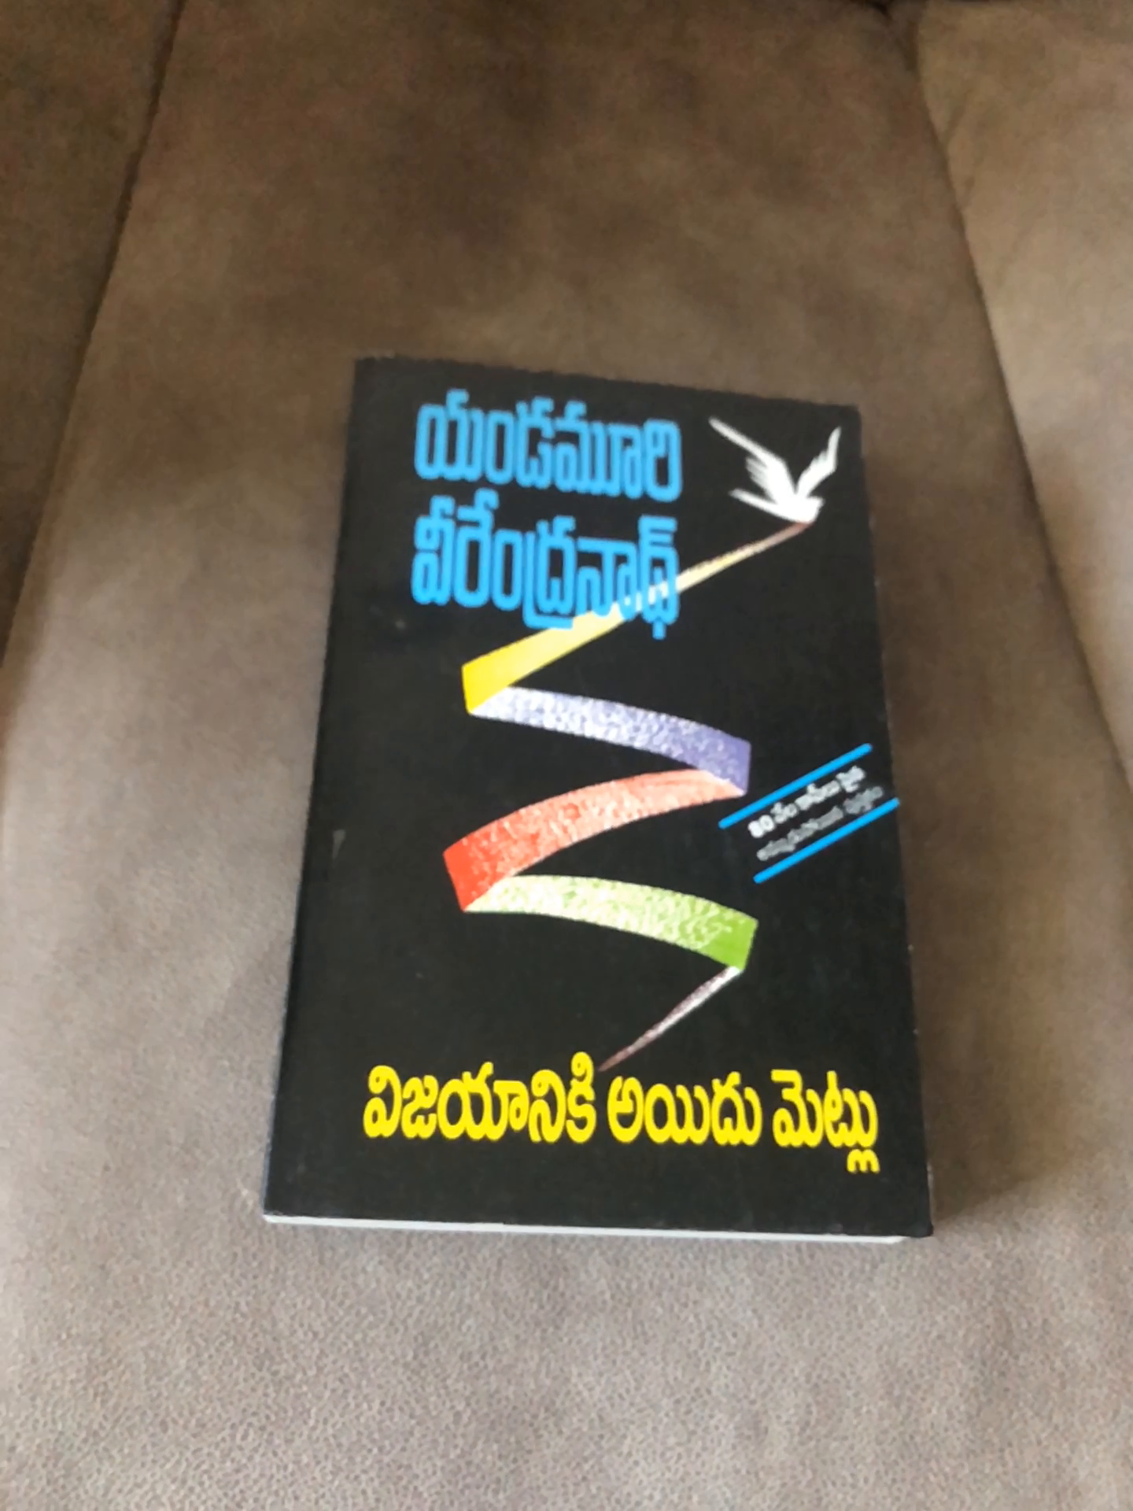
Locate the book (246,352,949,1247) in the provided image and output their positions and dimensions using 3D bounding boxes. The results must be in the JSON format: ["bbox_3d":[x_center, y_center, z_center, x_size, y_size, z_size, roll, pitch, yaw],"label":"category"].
[{"bbox_3d":[0.010,0.003,0.309,0.144,0.026,0.212,5,67,-7],"label":"book"}]
